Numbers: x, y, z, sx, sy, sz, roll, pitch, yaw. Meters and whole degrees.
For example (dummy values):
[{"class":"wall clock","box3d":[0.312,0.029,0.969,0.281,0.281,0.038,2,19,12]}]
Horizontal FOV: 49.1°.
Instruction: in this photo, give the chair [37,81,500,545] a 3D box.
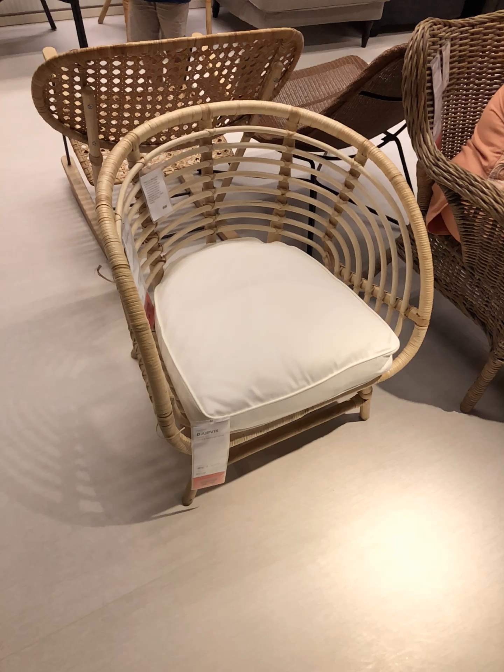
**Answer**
[{"class":"chair","box3d":[-0.020,-0.072,1.479,0.751,0.825,0.683,-20,54,-22]}]
